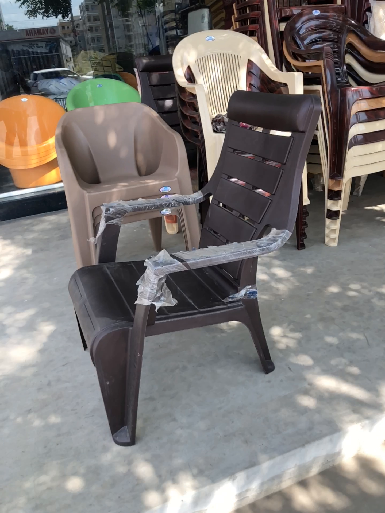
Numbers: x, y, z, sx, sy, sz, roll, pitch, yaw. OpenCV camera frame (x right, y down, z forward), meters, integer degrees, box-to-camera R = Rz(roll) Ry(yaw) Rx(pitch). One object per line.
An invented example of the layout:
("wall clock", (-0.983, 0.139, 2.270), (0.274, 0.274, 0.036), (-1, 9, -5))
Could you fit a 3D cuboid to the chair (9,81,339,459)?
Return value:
("chair", (-0.077, -0.057, 1.379), (0.761, 0.876, 0.682), (-14, 25, -18))
